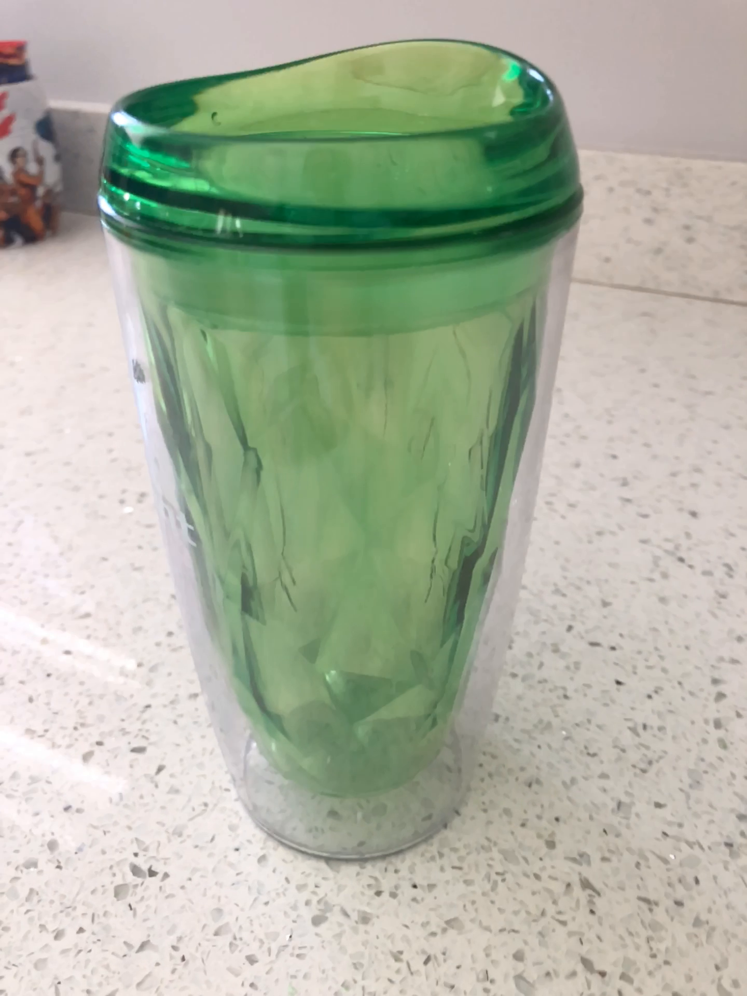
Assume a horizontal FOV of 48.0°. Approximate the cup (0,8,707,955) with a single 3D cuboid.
[{"bbox_3d":[-0.005,-0.009,0.179,0.090,0.159,0.090,0,33,0],"label":"cup"}]
